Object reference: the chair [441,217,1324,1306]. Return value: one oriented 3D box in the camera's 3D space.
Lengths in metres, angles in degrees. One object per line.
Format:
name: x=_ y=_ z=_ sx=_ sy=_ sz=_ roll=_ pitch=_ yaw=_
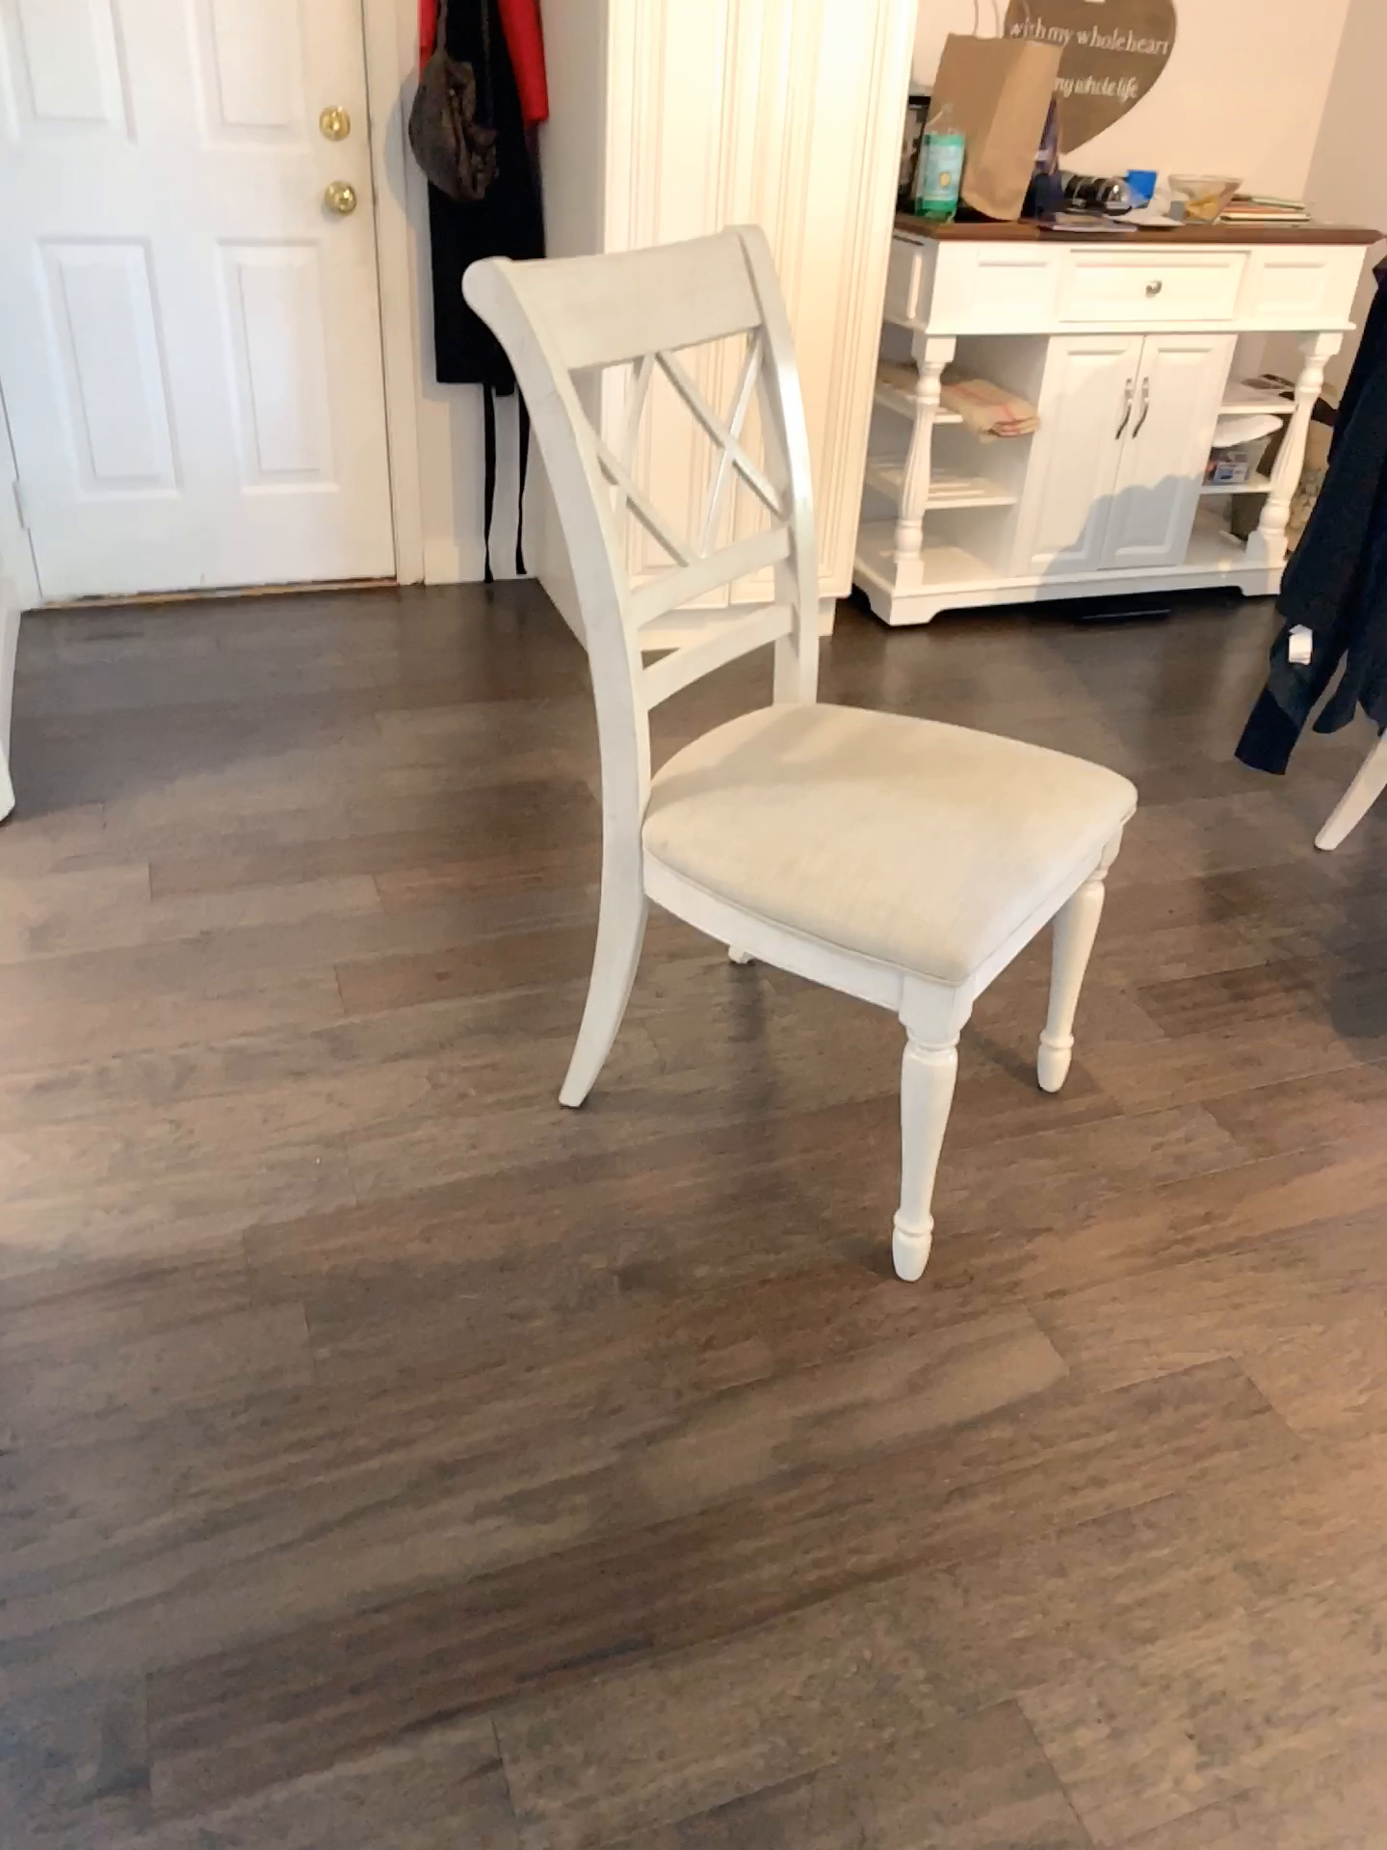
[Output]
chair: x=0.164 y=-0.219 z=1.566 sx=0.652 sy=0.924 sz=0.532 roll=22 pitch=36 yaw=28
